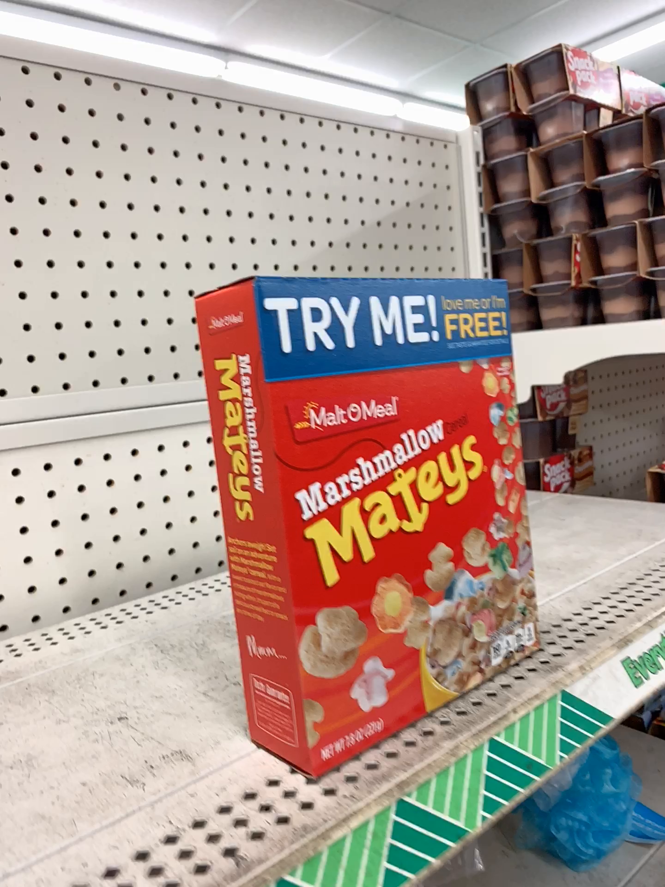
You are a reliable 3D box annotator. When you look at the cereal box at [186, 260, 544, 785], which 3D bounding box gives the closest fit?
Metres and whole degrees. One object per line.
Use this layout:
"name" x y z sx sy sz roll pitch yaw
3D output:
"cereal box" 0.029 0.024 0.370 0.180 0.230 0.050 -11 7 -38
